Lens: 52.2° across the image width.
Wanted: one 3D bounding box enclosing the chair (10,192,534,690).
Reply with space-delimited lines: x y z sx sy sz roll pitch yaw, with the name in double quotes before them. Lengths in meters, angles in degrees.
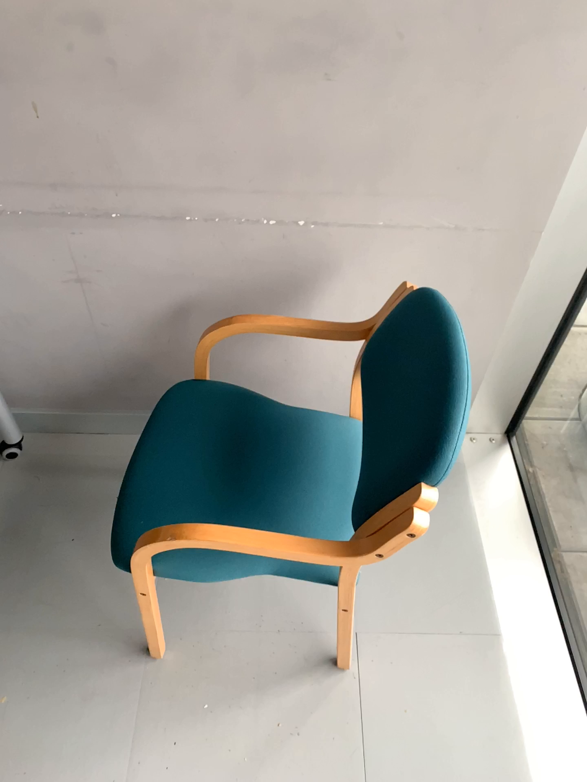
"chair" -0.024 0.121 1.229 0.640 0.723 0.686 3 49 0
